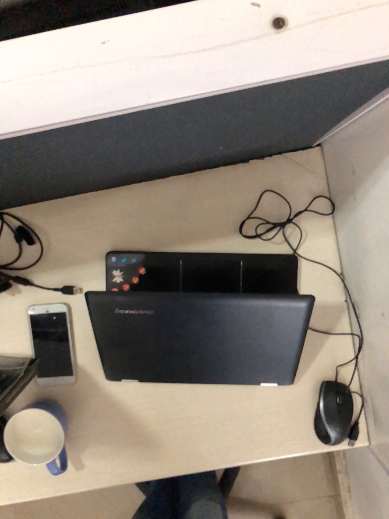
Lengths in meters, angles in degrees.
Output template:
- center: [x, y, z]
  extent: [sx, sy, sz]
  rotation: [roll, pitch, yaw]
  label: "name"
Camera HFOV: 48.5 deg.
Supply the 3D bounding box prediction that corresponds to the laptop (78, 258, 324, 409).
- center: [0.008, 0.105, 0.667]
  extent: [0.324, 0.143, 0.204]
  rotation: [1, 102, 2]
  label: "laptop"
